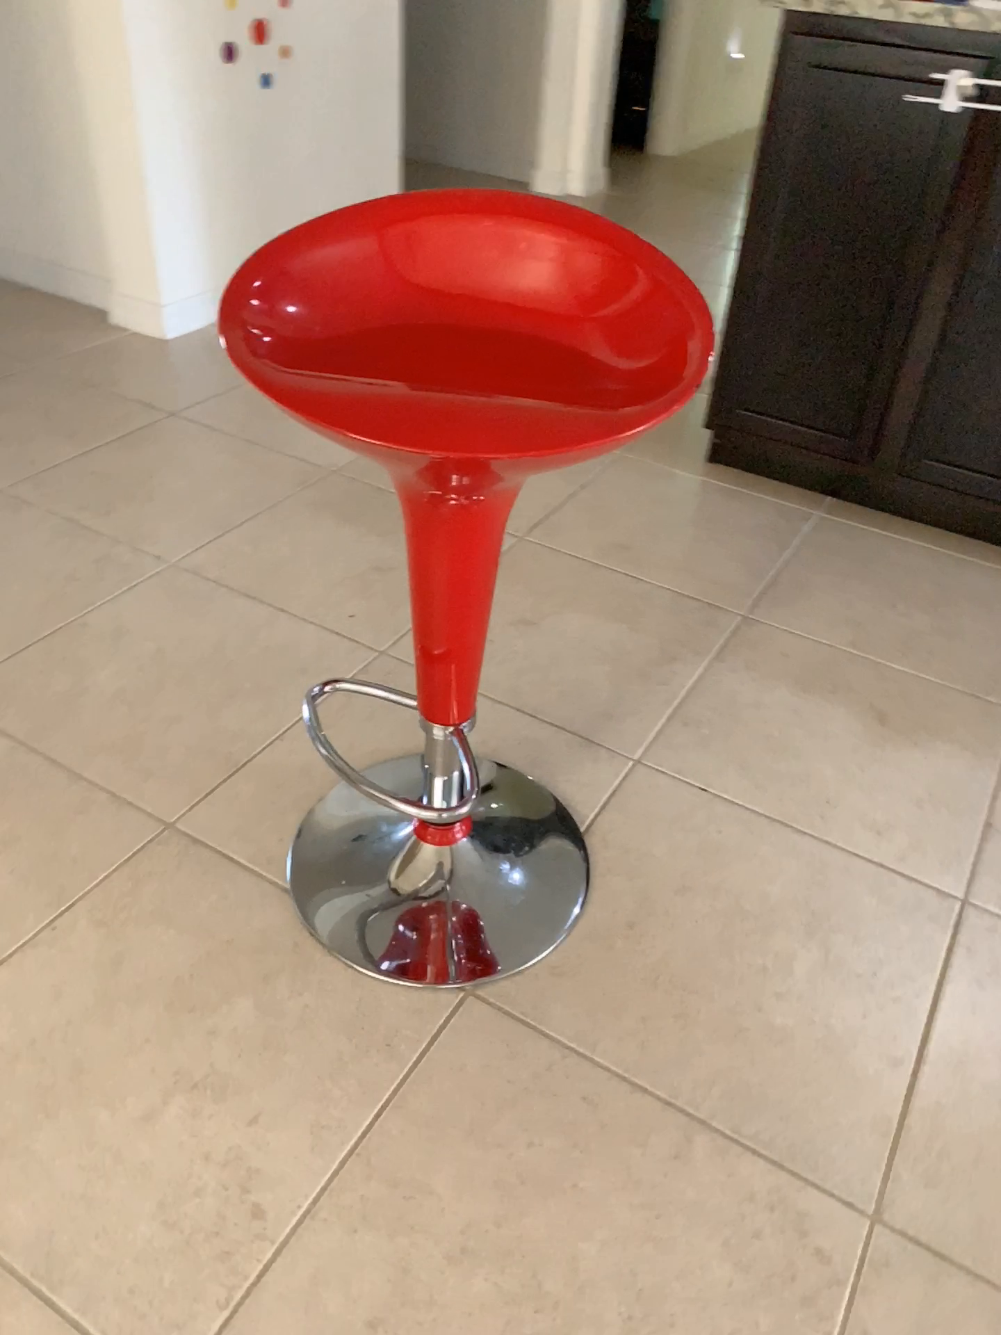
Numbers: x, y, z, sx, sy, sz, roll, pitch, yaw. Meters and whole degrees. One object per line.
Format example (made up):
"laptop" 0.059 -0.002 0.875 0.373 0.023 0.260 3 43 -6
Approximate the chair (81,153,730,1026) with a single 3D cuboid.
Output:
"chair" -0.057 -0.077 1.068 0.437 0.726 0.436 10 36 7
